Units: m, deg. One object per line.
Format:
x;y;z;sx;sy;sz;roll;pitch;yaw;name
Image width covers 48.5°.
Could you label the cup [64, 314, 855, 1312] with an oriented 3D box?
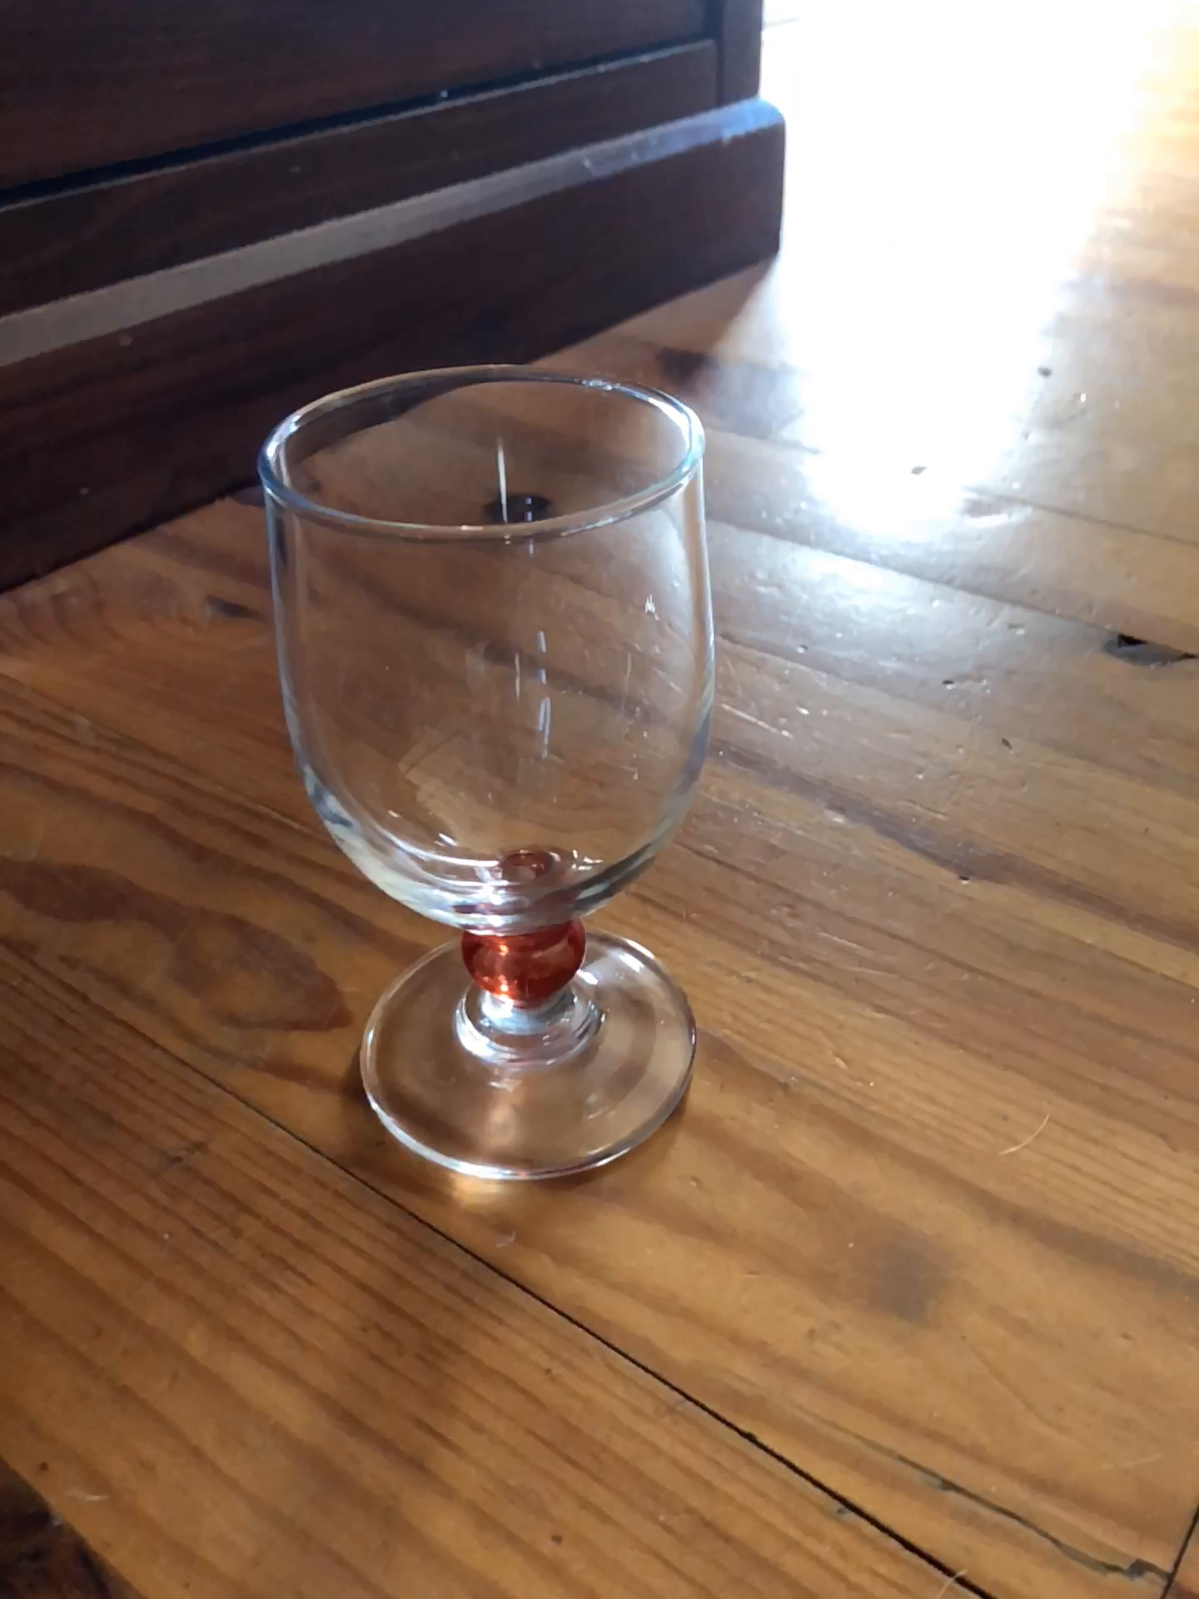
-0.021;-0.001;0.239;0.084;0.132;0.088;-1;36;1;cup
